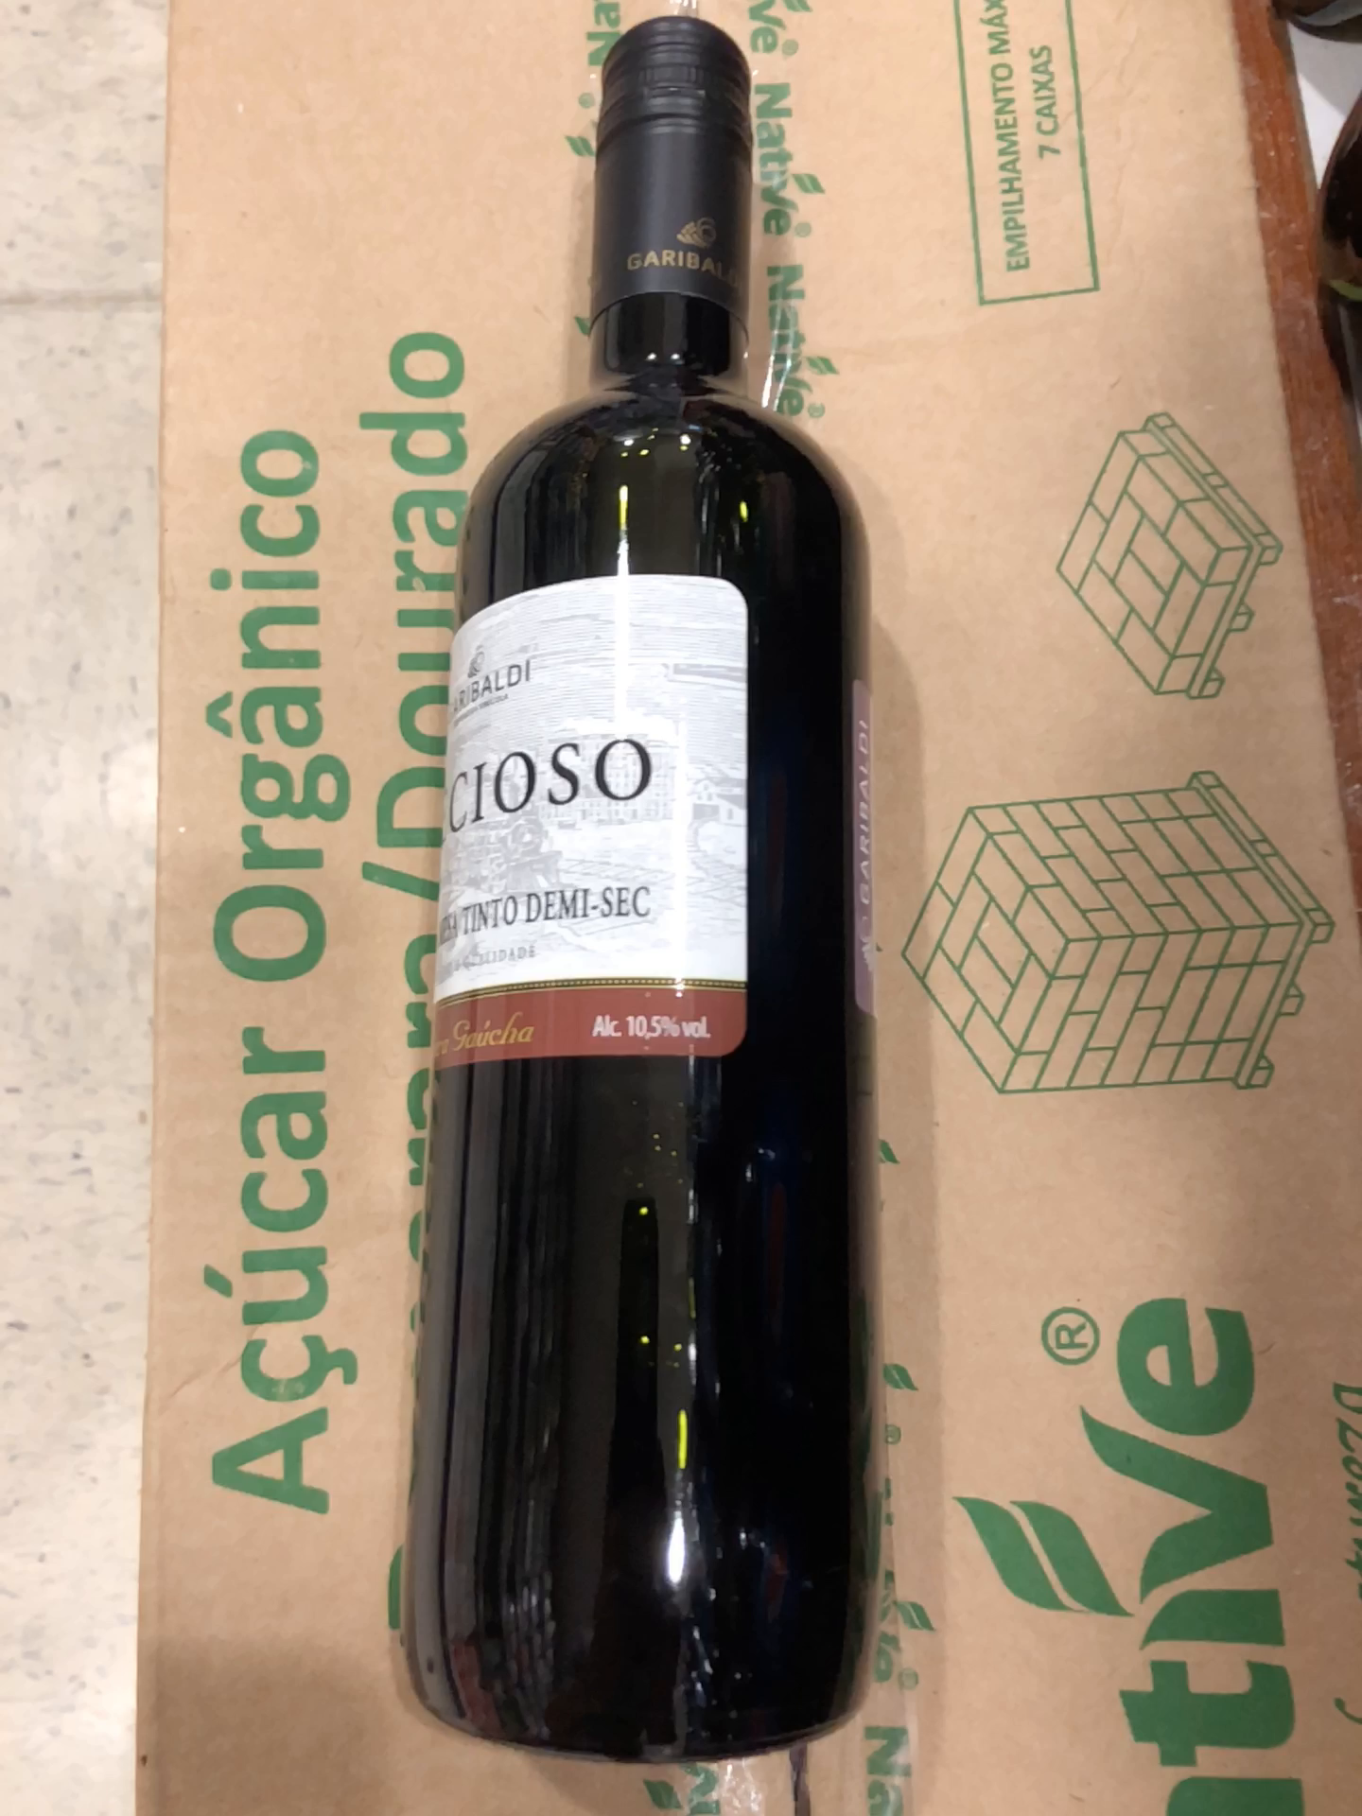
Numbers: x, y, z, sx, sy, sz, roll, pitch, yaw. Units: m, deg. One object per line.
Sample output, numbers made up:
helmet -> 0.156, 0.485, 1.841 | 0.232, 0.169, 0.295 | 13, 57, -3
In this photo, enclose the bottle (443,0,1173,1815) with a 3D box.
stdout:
bottle -> 0.019, -0.036, 0.265 | 0.090, 0.080, 0.340 | 2, 76, -2
